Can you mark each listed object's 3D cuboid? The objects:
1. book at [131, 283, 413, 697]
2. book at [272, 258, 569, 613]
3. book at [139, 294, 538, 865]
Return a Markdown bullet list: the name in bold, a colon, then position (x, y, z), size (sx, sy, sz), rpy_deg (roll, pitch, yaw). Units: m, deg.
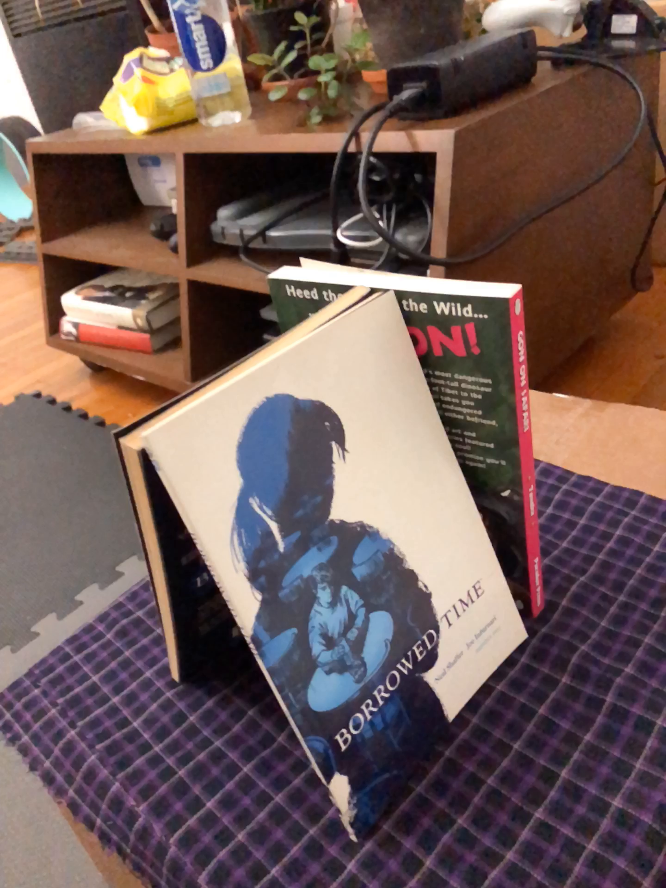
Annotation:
- **book**: position (-0.025, 0.032, 0.376), size (0.010, 0.199, 0.150), rpy_deg (37, 54, 26)
- **book**: position (0.051, -0.003, 0.396), size (0.140, 0.189, 0.020), rpy_deg (17, 48, 38)
- **book**: position (0.020, 0.054, 0.322), size (0.140, 0.199, 0.010), rpy_deg (-36, 20, -36)
